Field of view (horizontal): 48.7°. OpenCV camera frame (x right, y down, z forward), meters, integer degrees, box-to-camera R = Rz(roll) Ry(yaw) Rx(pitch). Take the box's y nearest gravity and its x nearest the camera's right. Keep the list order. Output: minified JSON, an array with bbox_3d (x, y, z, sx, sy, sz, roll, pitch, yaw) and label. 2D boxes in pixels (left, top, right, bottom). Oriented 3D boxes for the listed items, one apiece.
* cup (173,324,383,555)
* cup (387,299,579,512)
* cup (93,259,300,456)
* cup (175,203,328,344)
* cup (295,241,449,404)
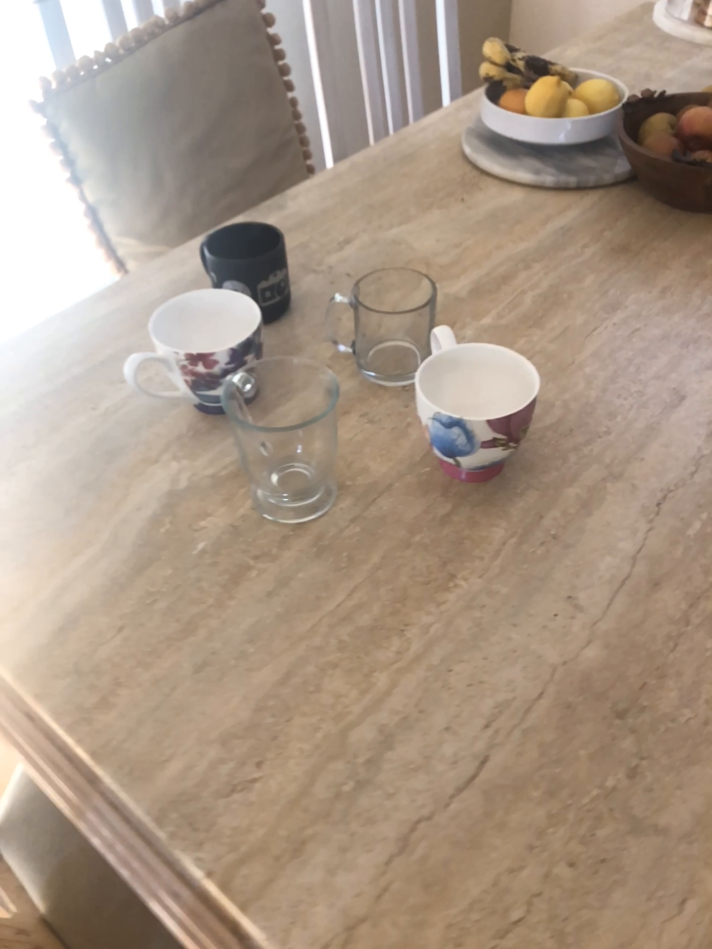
[{"bbox_3d":[-0.064,-0.033,0.683,0.140,0.119,0.101,32,55,31],"label":"cup"},{"bbox_3d":[0.108,-0.067,0.714,0.110,0.099,0.151,-16,45,-12],"label":"cup"},{"bbox_3d":[-0.148,-0.118,0.765,0.110,0.099,0.151,23,50,25],"label":"cup"},{"bbox_3d":[-0.121,-0.239,0.925,0.140,0.089,0.101,32,55,31],"label":"cup"},{"bbox_3d":[0.020,-0.161,0.828,0.130,0.119,0.091,14,47,17],"label":"cup"}]
